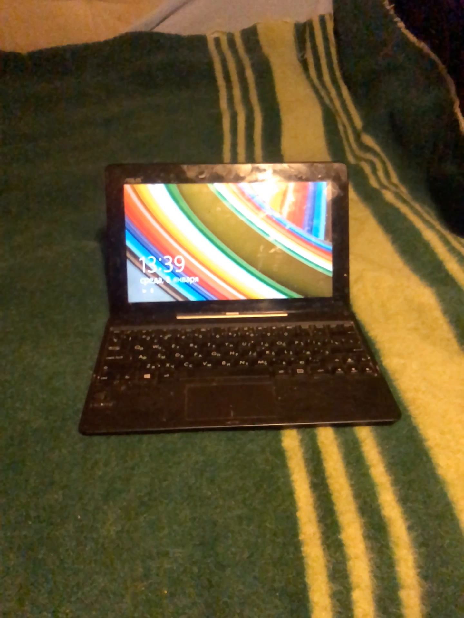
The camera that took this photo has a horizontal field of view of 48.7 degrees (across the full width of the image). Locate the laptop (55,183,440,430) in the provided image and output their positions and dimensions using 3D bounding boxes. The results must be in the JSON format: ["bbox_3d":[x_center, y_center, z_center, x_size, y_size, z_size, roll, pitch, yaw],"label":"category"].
[{"bbox_3d":[0.004,-0.021,0.487,0.257,0.116,0.258,-1,34,-3],"label":"laptop"}]
